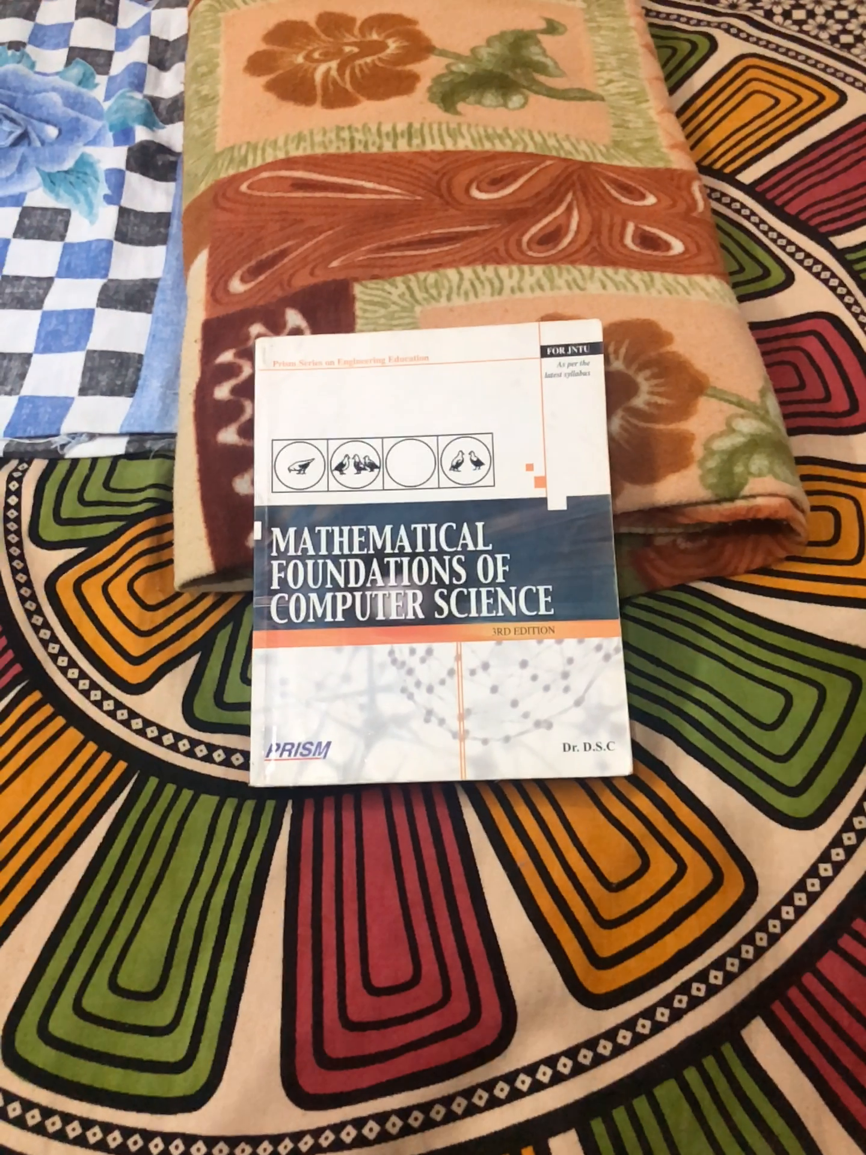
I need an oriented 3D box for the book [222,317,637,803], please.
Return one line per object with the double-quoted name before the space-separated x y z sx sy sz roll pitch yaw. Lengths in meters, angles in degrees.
"book" -0.006 -0.009 0.484 0.190 0.050 0.230 -2 79 0
